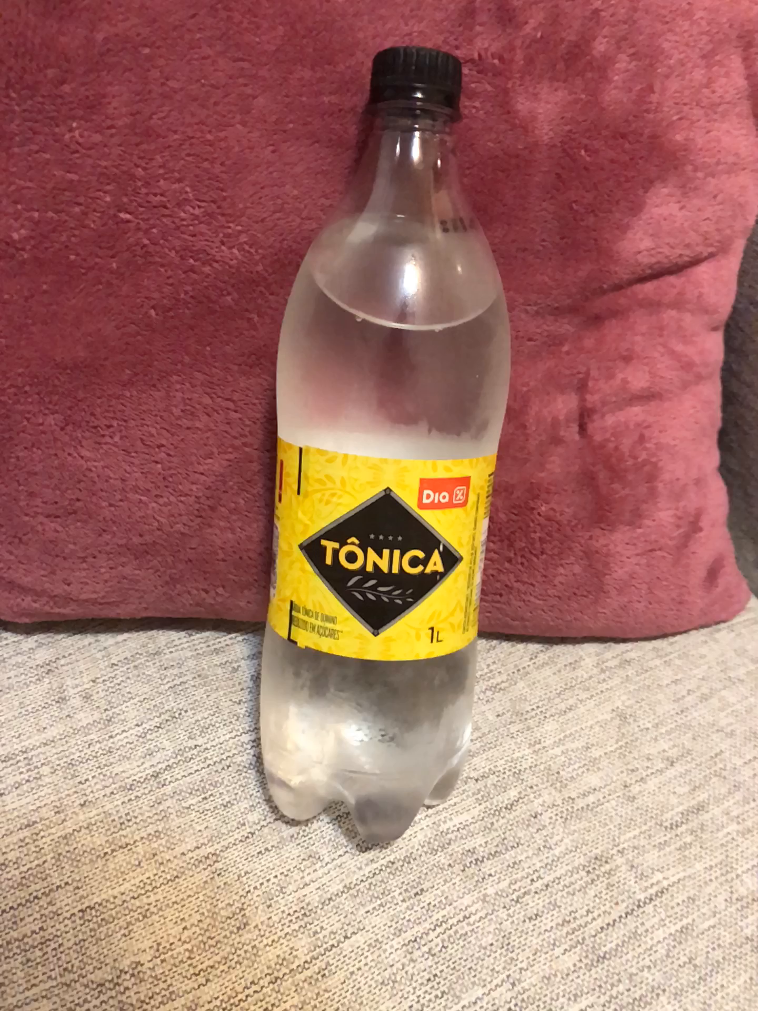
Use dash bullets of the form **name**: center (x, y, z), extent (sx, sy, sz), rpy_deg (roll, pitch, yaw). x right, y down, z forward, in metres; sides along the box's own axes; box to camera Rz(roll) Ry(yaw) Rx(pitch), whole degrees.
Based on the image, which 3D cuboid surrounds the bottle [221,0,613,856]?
- **bottle**: center (0.001, -0.019, 0.315), extent (0.100, 0.269, 0.100), rpy_deg (5, 15, -1)
